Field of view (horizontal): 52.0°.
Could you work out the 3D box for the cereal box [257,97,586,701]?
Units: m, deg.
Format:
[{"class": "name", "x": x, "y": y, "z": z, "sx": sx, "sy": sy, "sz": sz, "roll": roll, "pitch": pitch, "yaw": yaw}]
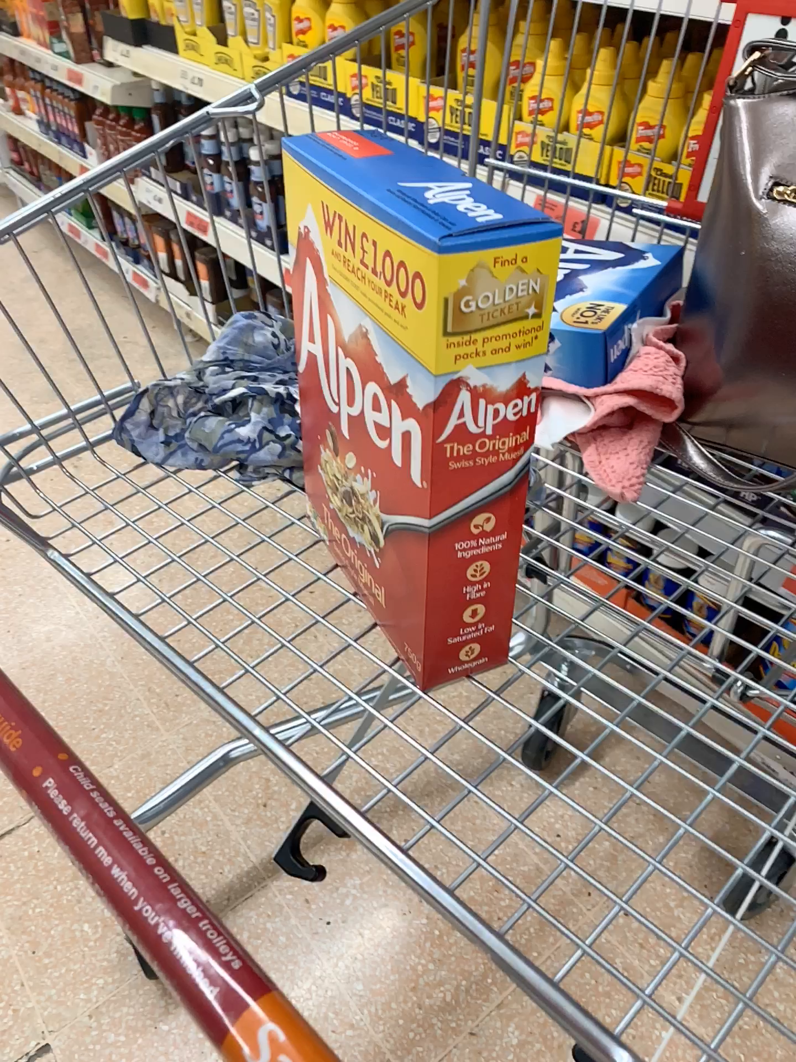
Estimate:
[{"class": "cereal box", "x": 0.000, "y": -0.066, "z": 0.424, "sx": 0.060, "sy": 0.248, "sz": 0.181, "roll": -18, "pitch": 43, "yaw": -20}]
